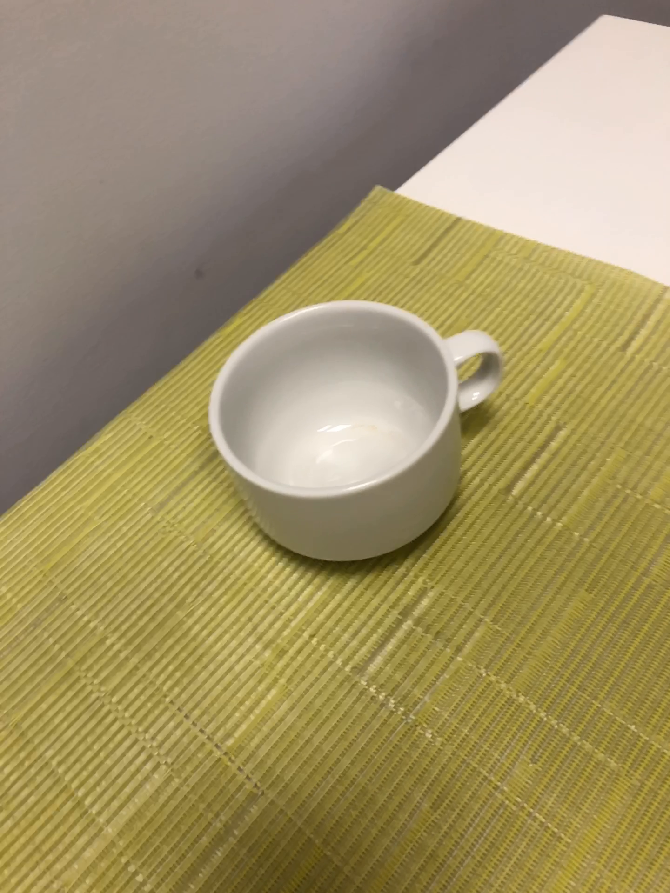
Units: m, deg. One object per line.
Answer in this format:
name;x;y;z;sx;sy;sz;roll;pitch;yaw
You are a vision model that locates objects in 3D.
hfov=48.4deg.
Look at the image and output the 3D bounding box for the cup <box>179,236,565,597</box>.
cup;0.010;-0.012;0.268;0.110;0.057;0.086;-17;51;1
